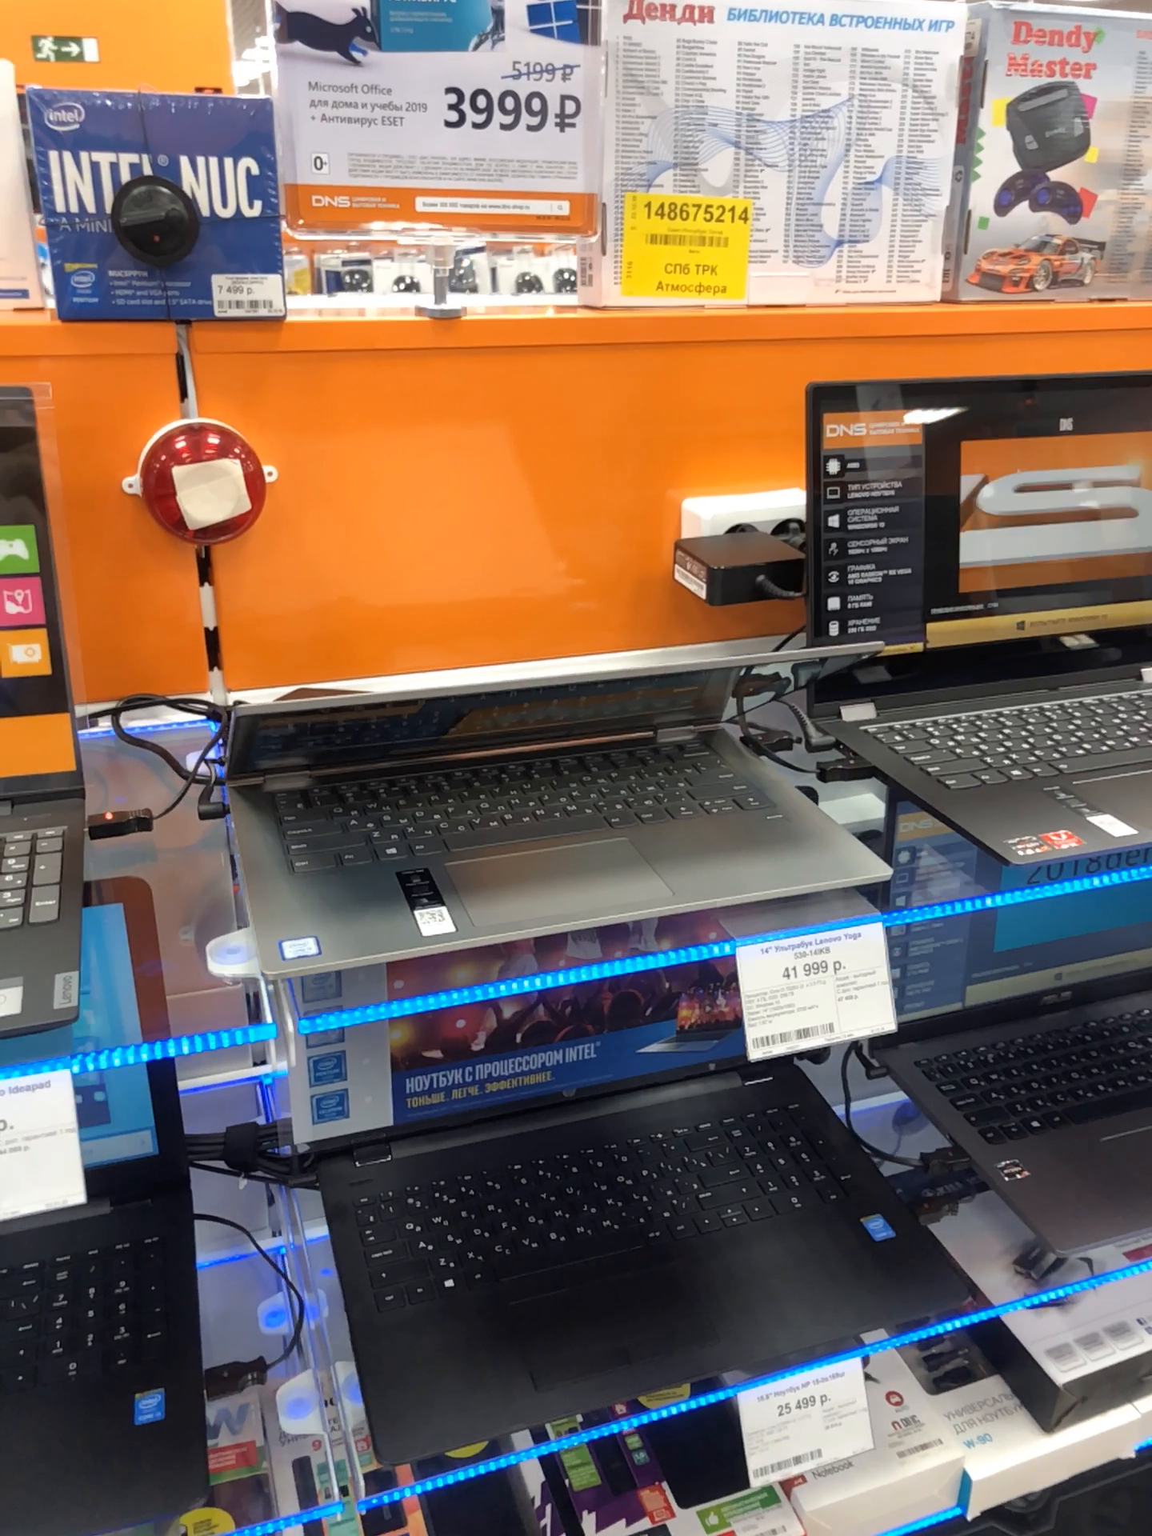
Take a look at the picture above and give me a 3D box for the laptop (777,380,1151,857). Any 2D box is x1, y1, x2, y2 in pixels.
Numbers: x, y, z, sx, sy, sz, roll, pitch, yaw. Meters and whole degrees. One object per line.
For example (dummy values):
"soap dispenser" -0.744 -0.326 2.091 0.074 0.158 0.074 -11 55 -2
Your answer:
"laptop" 0.346 -0.113 0.780 0.328 0.210 0.247 -7 25 -20

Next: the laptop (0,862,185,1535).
"laptop" -0.388 0.234 0.656 0.333 0.222 0.244 -6 27 -18

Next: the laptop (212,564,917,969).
"laptop" -0.019 -0.019 0.676 0.313 0.110 0.210 -6 25 -18

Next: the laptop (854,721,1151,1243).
"laptop" 0.427 0.134 0.912 0.329 0.228 0.236 -8 26 -19

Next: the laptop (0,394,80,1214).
"laptop" -0.404 -0.028 0.540 0.329 0.219 0.277 -7 24 -19

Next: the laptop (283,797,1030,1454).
"laptop" 0.028 0.192 0.791 0.361 0.223 0.261 -7 25 -17
